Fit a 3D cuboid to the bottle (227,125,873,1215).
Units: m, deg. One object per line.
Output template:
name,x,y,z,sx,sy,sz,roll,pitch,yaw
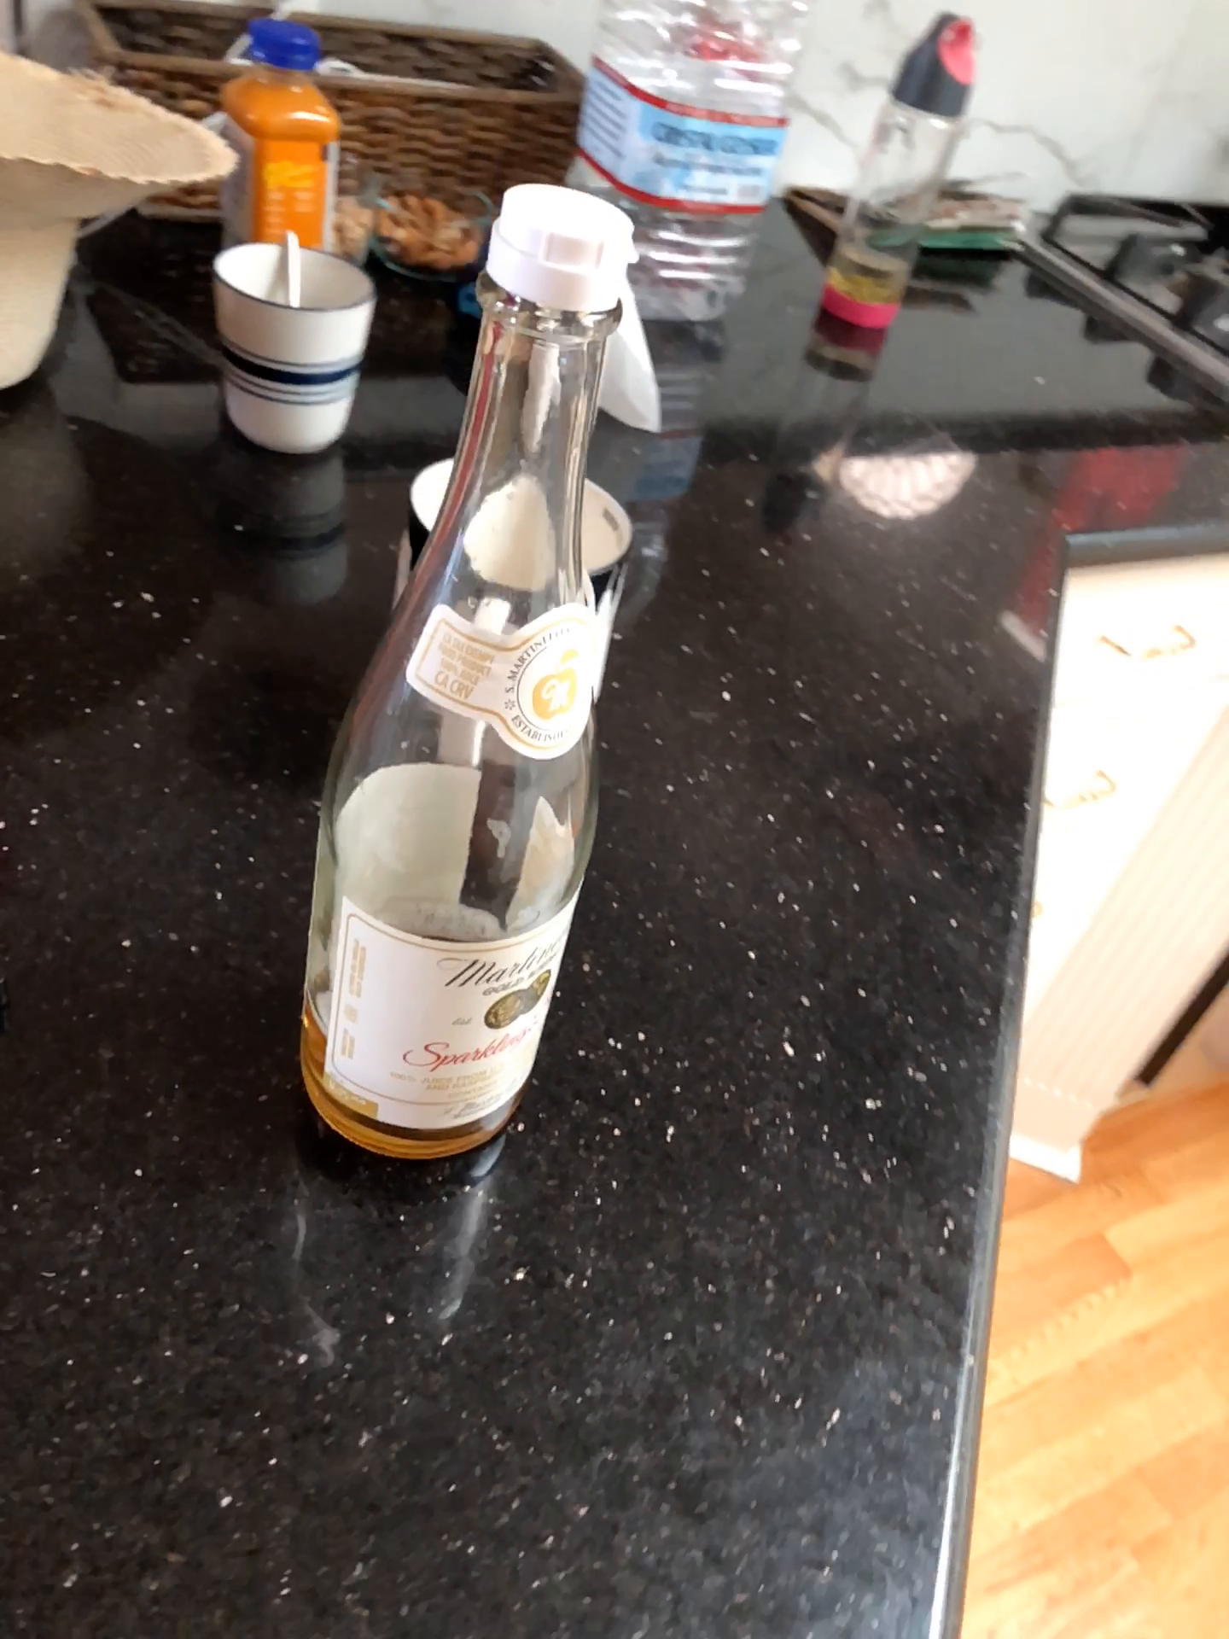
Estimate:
bottle,-0.039,-0.025,0.386,0.094,0.288,0.098,9,41,-8
